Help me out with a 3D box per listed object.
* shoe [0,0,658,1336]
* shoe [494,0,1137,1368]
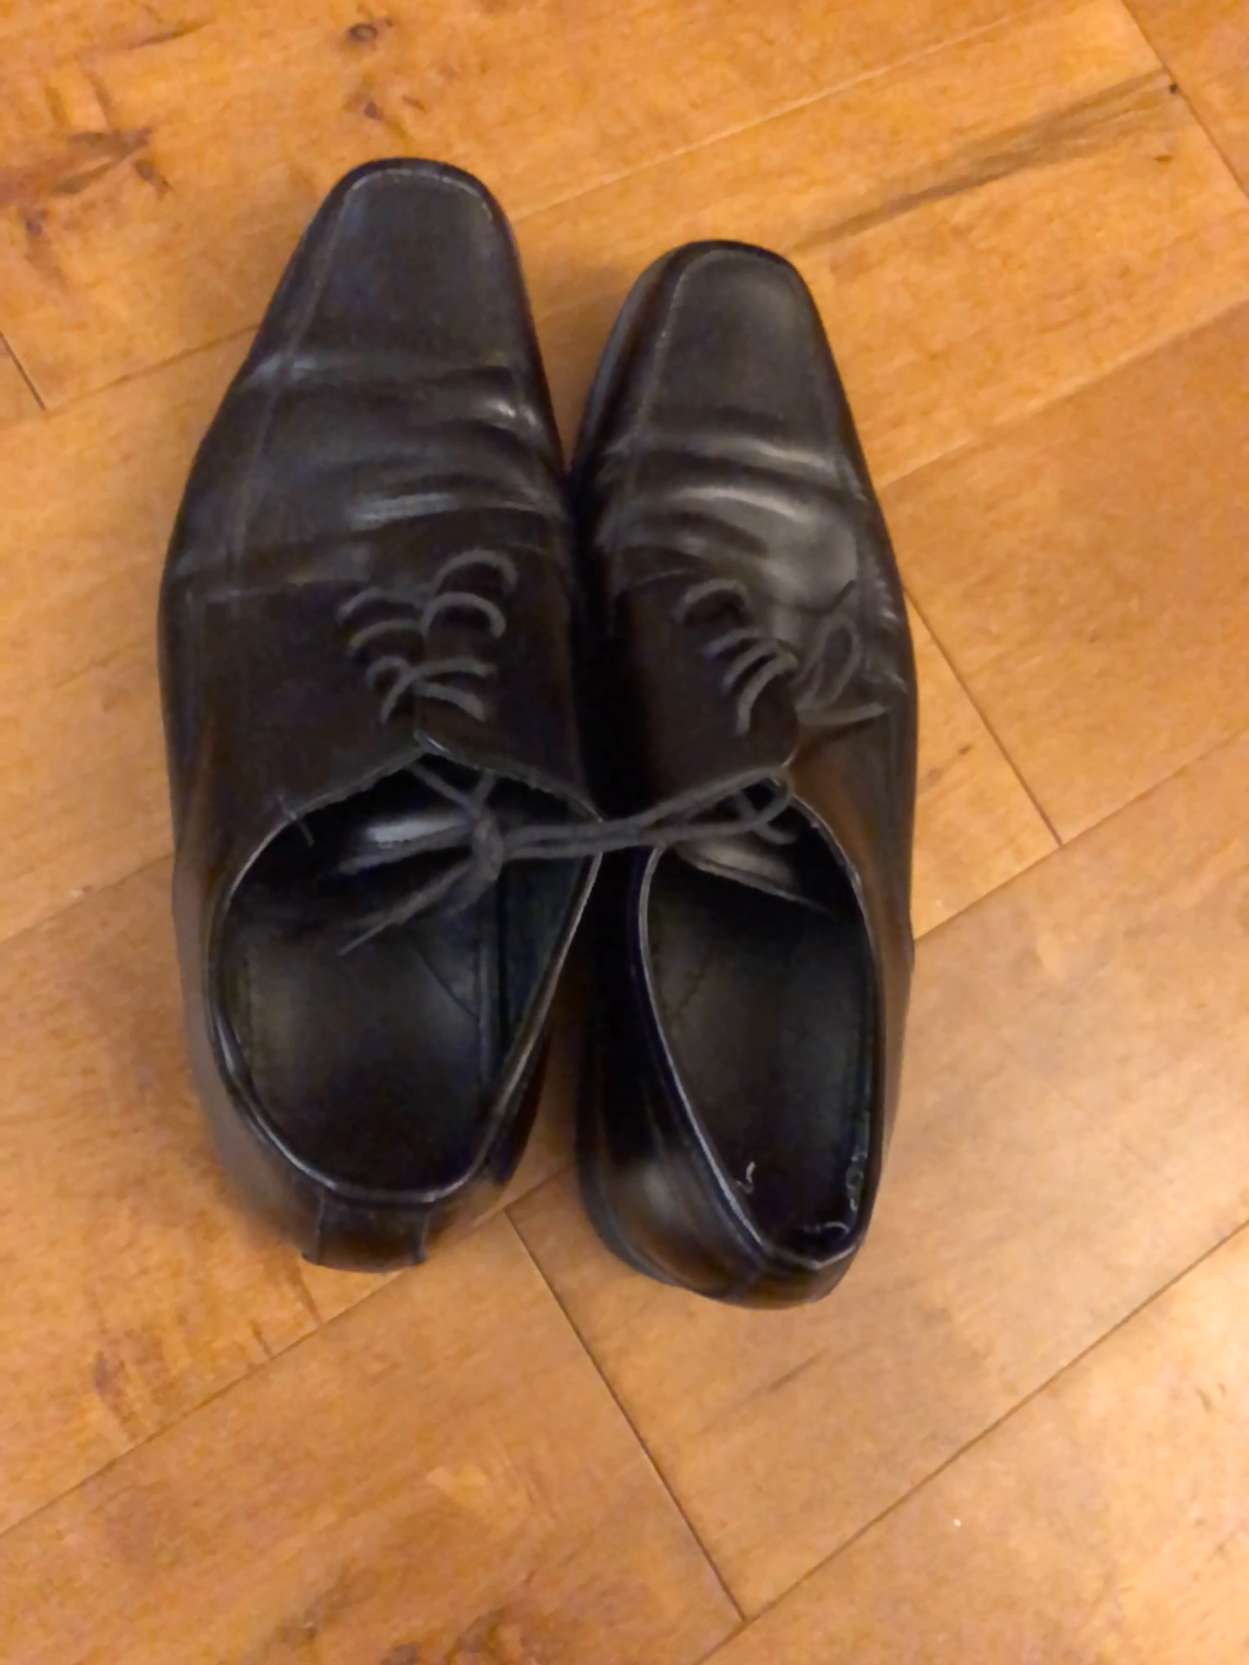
[{"bbox_3d":[-0.064,-0.053,0.333,0.110,0.130,0.310,4,78,-12],"label":"shoe"},{"bbox_3d":[0.036,-0.040,0.352,0.110,0.130,0.310,4,78,-12],"label":"shoe"}]
